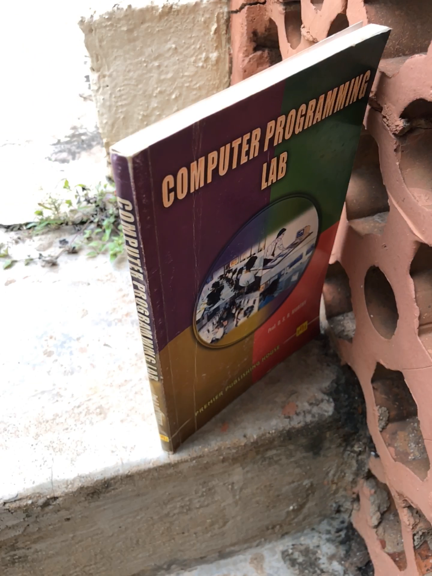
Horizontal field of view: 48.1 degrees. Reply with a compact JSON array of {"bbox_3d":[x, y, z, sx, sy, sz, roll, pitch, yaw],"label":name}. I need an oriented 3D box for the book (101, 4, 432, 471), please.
[{"bbox_3d":[0.031,-0.008,0.286,0.180,0.249,0.020,-35,58,-28],"label":"book"}]
